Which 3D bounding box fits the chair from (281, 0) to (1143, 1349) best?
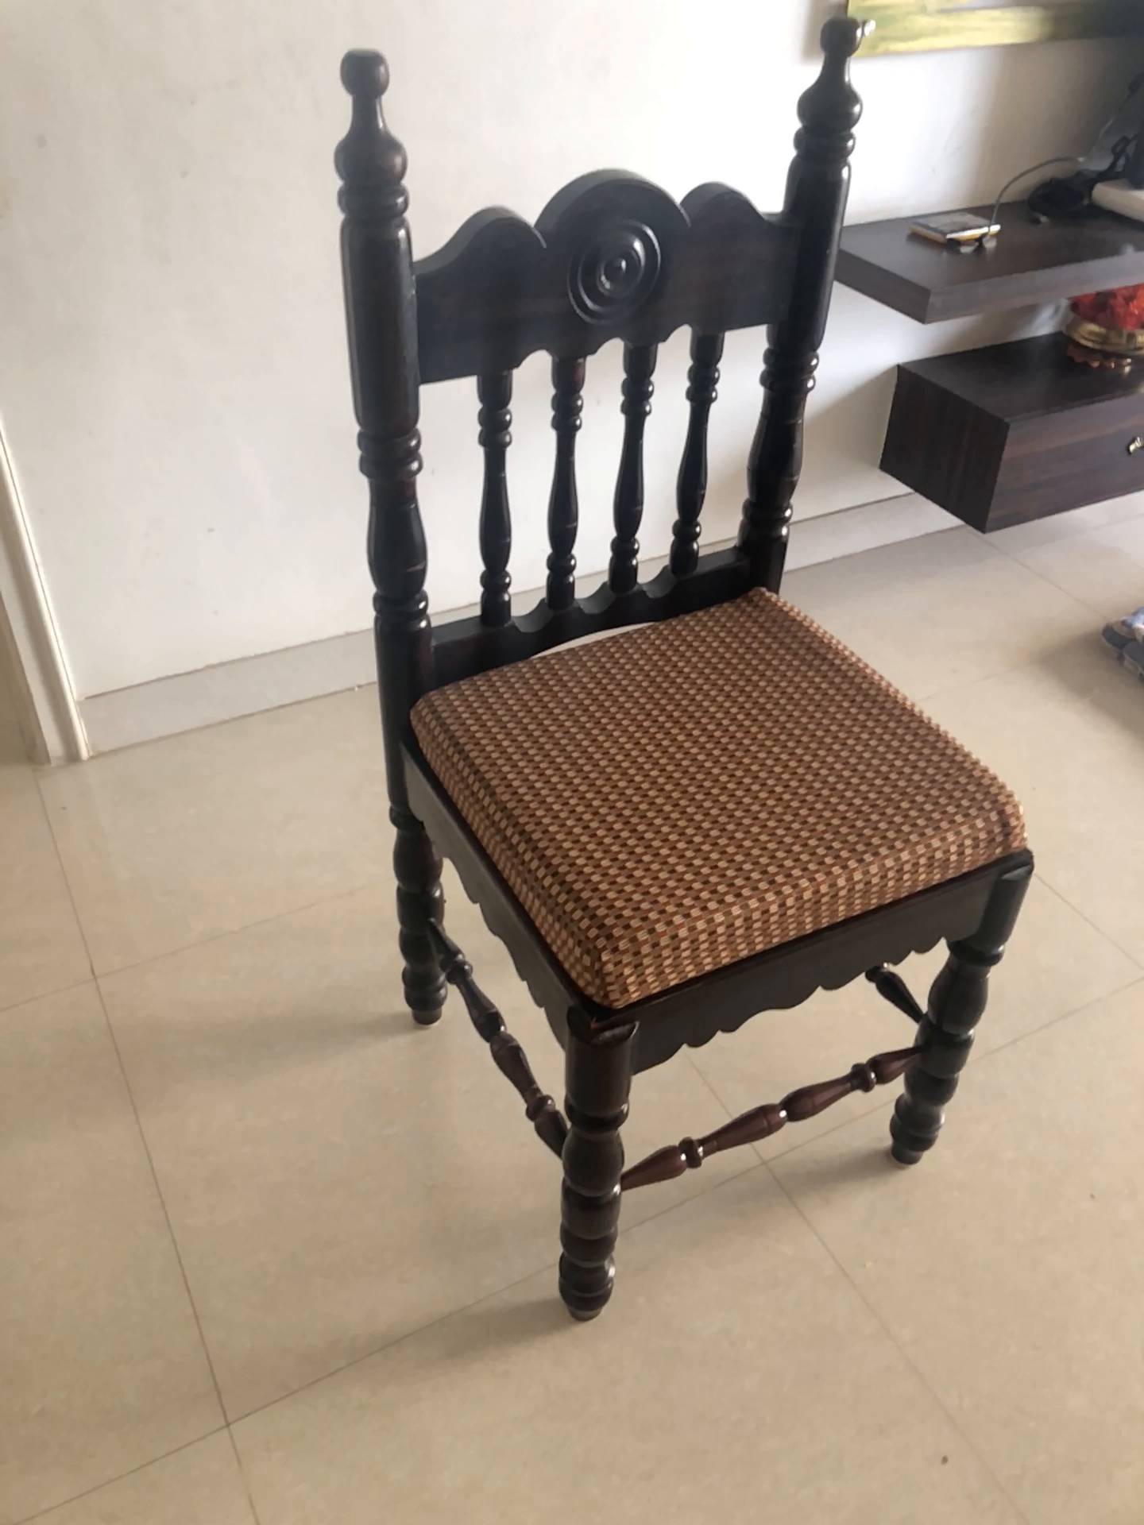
[{"bbox_3d":[0.118,-0.070,1.161,0.501,1.022,0.563,-16,42,-21],"label":"chair"}]
